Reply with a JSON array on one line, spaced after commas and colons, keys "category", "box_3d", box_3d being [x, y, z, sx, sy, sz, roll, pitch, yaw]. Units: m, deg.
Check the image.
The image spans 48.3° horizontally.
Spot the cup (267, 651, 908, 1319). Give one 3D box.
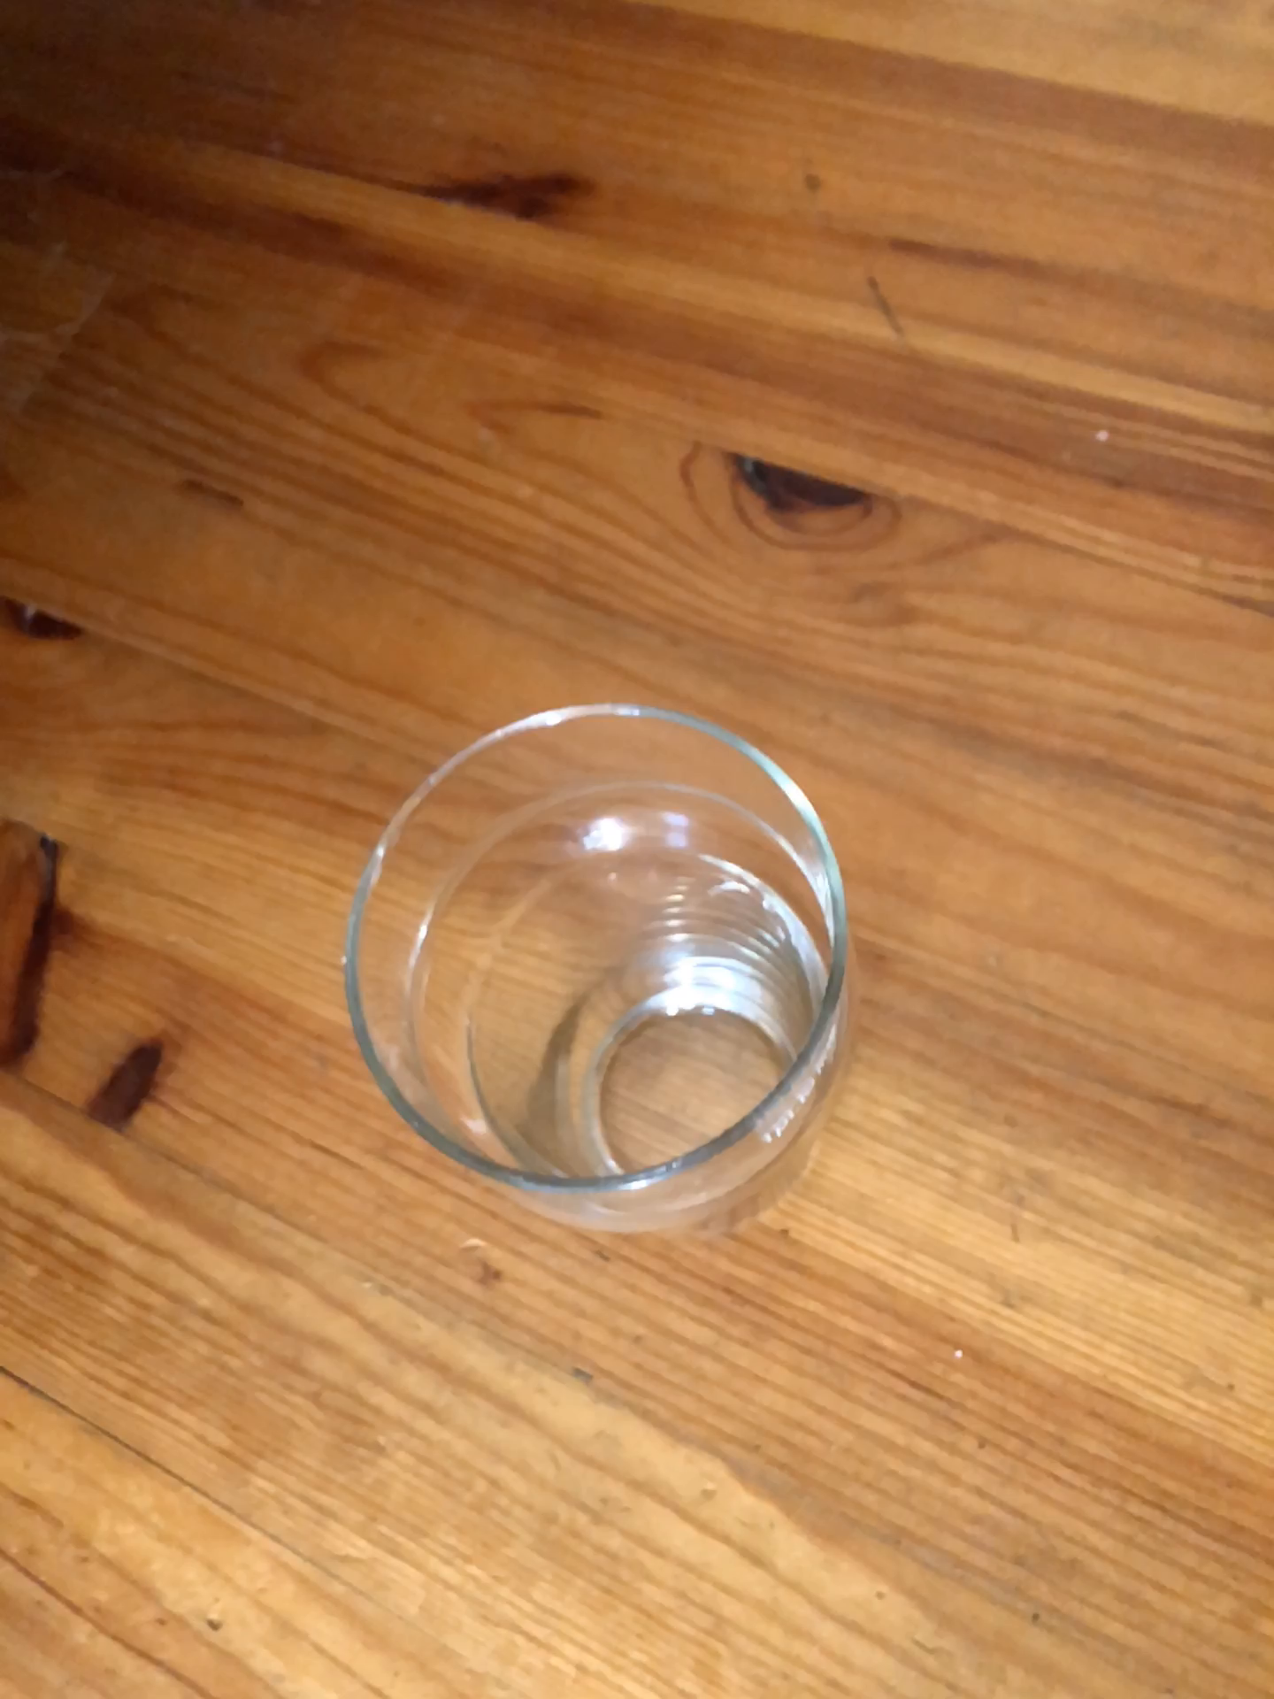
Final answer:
[{"category": "cup", "box_3d": [0.001, 0.042, 0.325, 0.091, 0.152, 0.095, -2, 69, 6]}]
